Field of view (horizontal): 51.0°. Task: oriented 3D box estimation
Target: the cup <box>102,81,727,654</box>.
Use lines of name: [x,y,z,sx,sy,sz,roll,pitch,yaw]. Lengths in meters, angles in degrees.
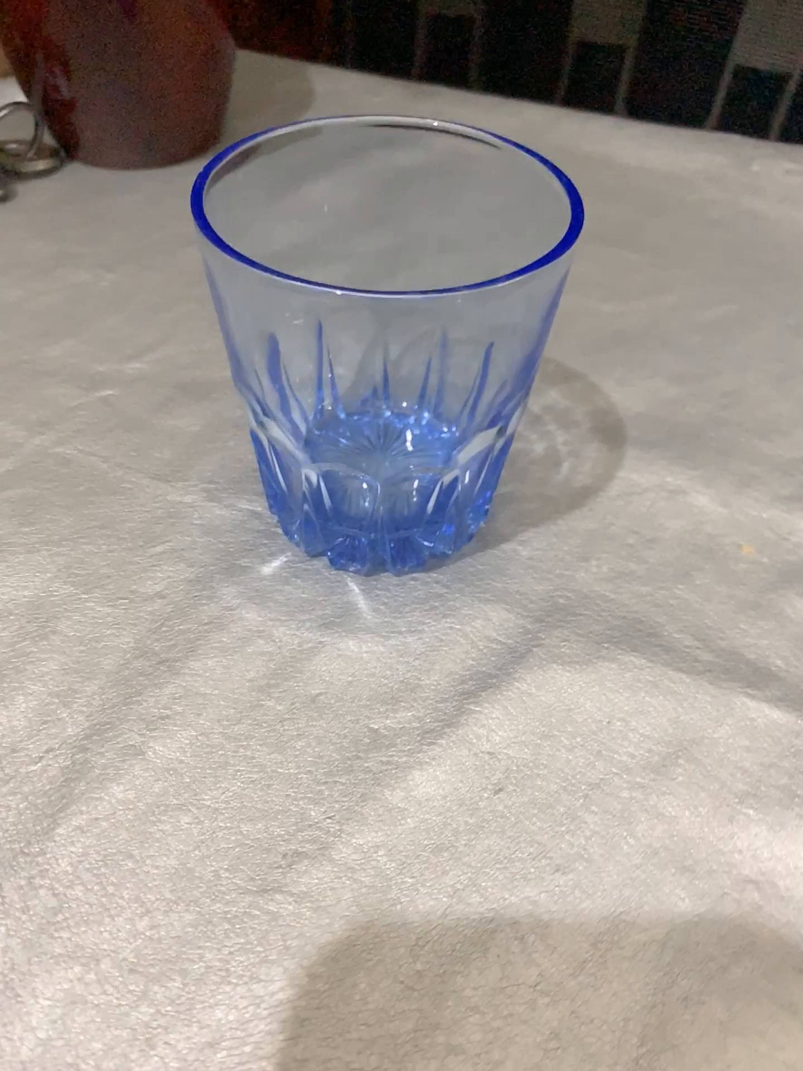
cup: [-0.004,-0.043,0.188,0.090,0.070,0.090,2,48,-3]
